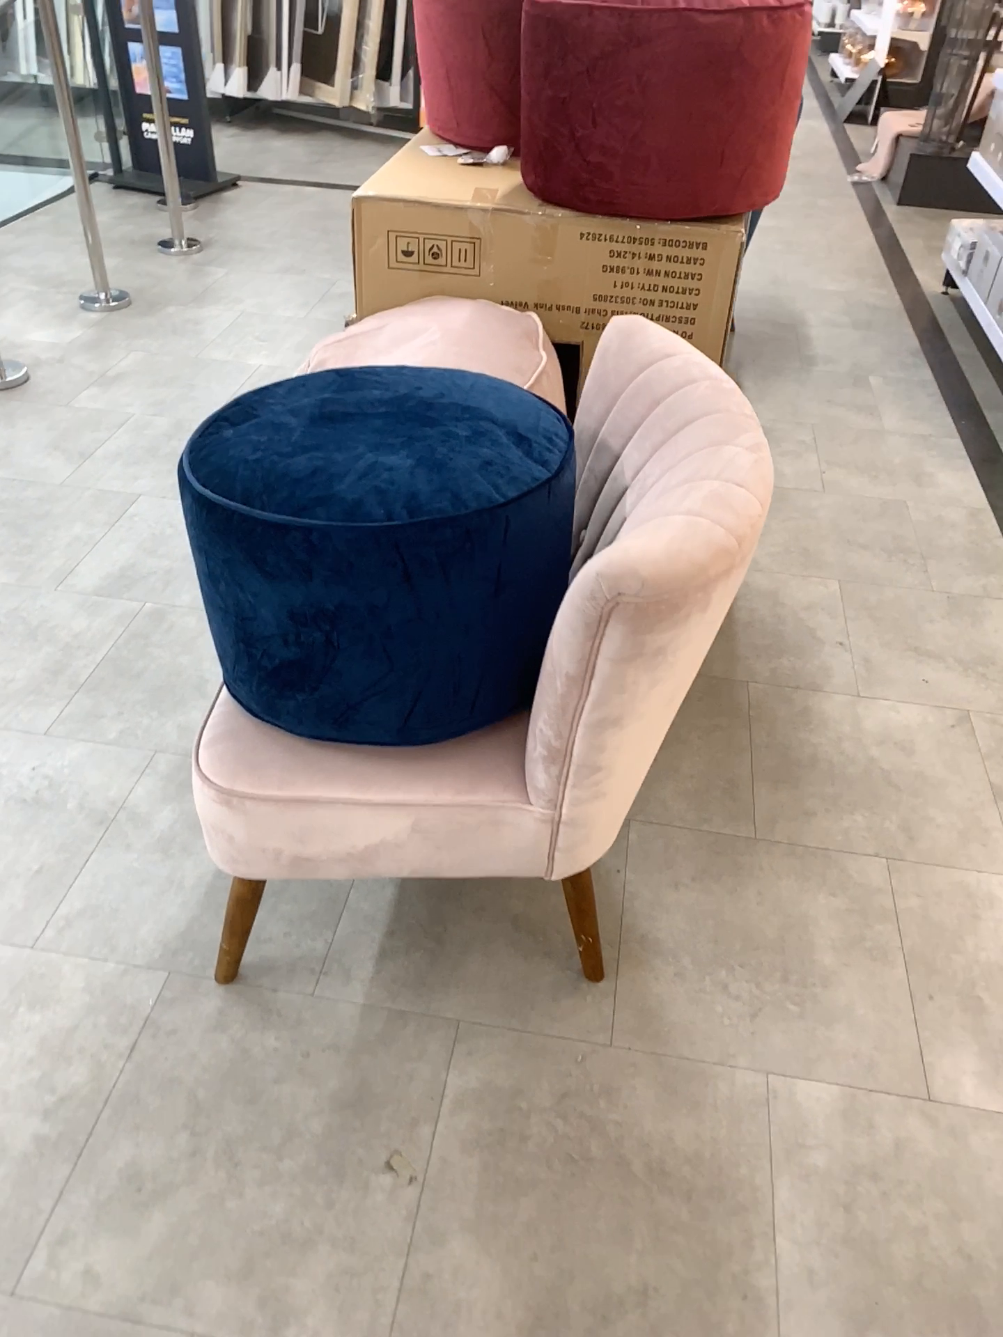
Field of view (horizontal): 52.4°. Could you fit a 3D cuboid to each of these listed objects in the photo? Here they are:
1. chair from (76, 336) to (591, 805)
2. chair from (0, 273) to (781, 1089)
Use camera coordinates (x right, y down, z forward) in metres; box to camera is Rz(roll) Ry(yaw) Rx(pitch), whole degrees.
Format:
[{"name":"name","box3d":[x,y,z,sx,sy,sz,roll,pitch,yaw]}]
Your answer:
[{"name":"chair","box3d":[-0.165,-0.154,1.328,0.493,0.340,0.499,7,38,6]},{"name":"chair","box3d":[-0.086,-0.011,1.405,0.730,0.772,0.697,7,38,6]}]
